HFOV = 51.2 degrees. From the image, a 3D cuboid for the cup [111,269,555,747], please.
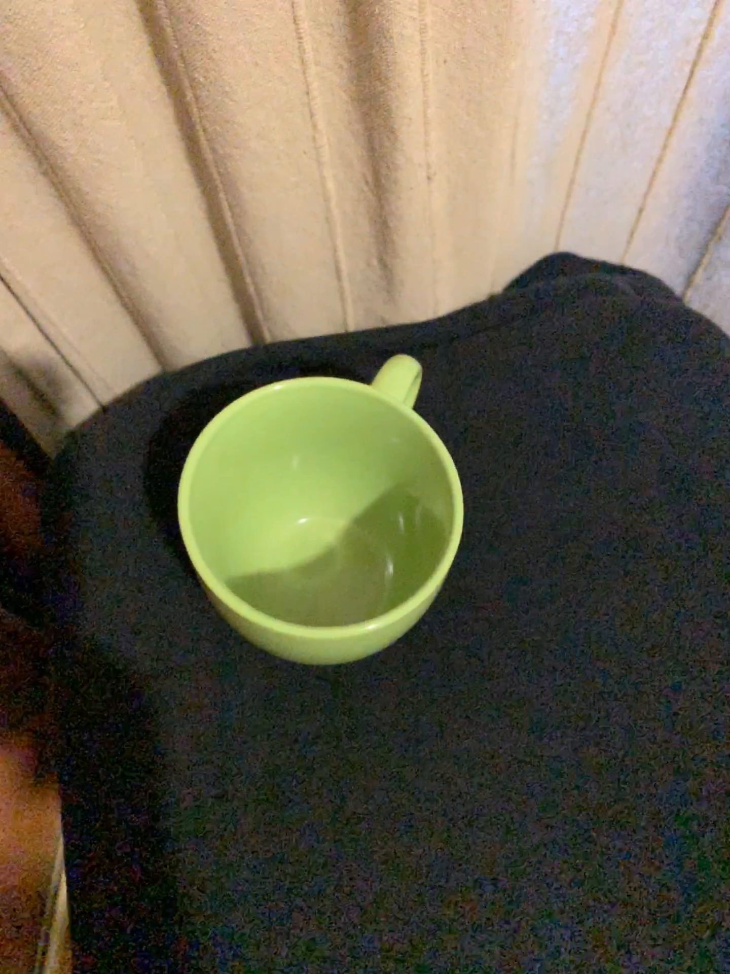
[{"bbox_3d":[-0.006,0.008,0.266,0.089,0.069,0.125,25,68,8],"label":"cup"}]
